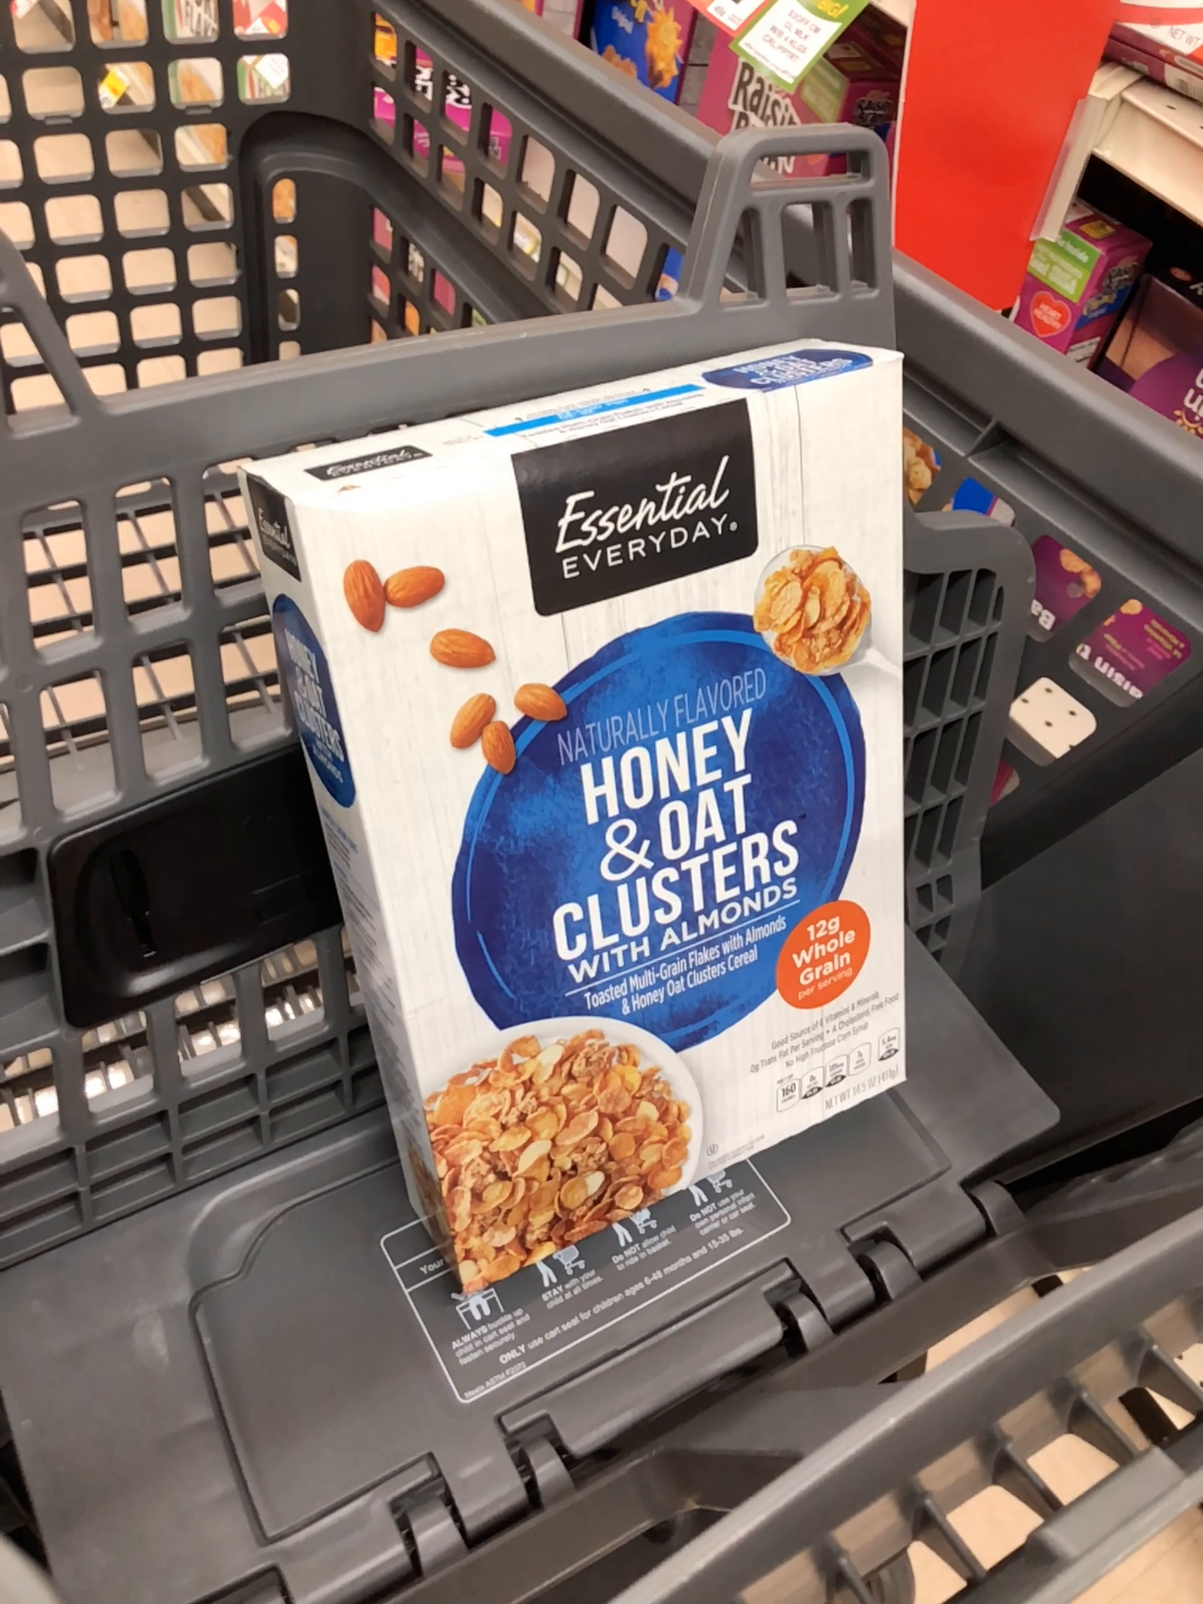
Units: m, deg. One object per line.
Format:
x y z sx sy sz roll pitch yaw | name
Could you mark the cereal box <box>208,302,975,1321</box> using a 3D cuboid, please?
0.016 0.003 0.433 0.210 0.280 0.060 -19 30 -23 | cereal box
